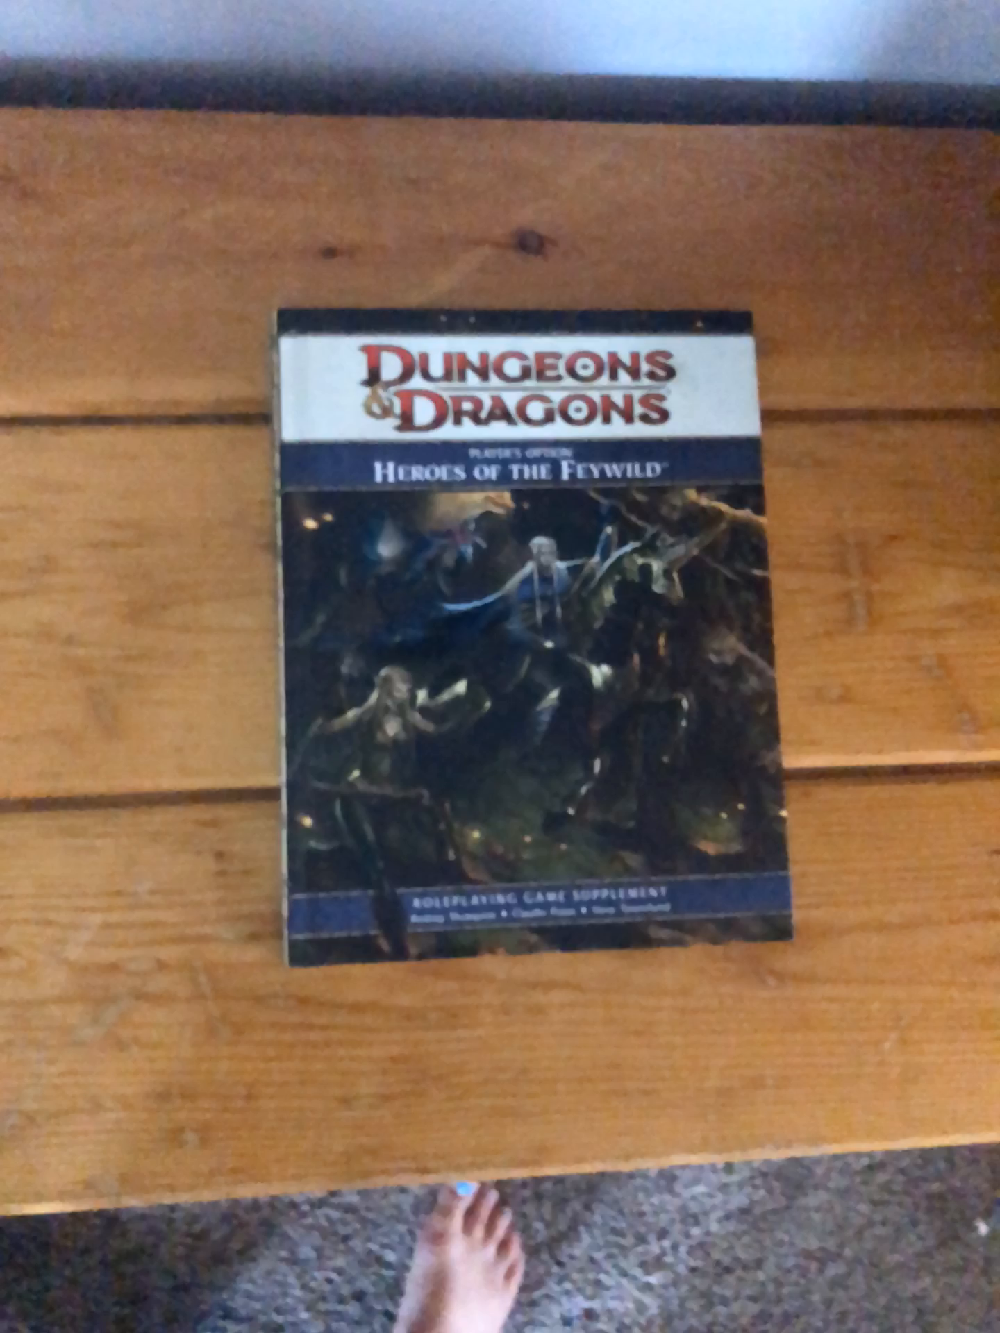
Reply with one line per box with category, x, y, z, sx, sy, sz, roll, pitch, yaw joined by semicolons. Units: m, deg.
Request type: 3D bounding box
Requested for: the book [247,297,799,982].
book;0.008;-0.017;0.472;0.220;0.020;0.280;-2;85;-5
